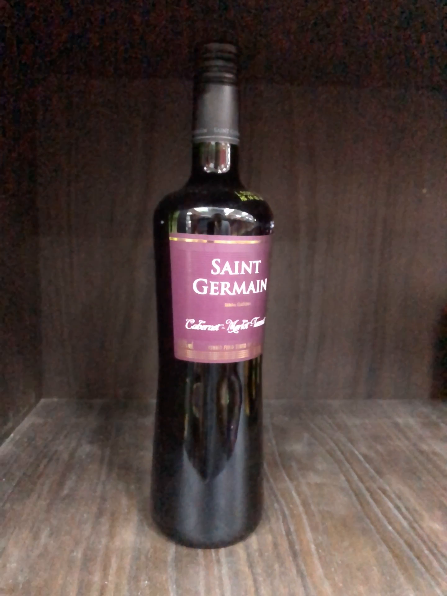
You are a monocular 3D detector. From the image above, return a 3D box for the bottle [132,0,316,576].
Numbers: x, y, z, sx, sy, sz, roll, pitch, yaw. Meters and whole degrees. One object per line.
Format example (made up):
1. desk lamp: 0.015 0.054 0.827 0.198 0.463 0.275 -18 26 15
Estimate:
1. bottle: -0.004 -0.005 0.310 0.080 0.309 0.070 -3 9 -34
